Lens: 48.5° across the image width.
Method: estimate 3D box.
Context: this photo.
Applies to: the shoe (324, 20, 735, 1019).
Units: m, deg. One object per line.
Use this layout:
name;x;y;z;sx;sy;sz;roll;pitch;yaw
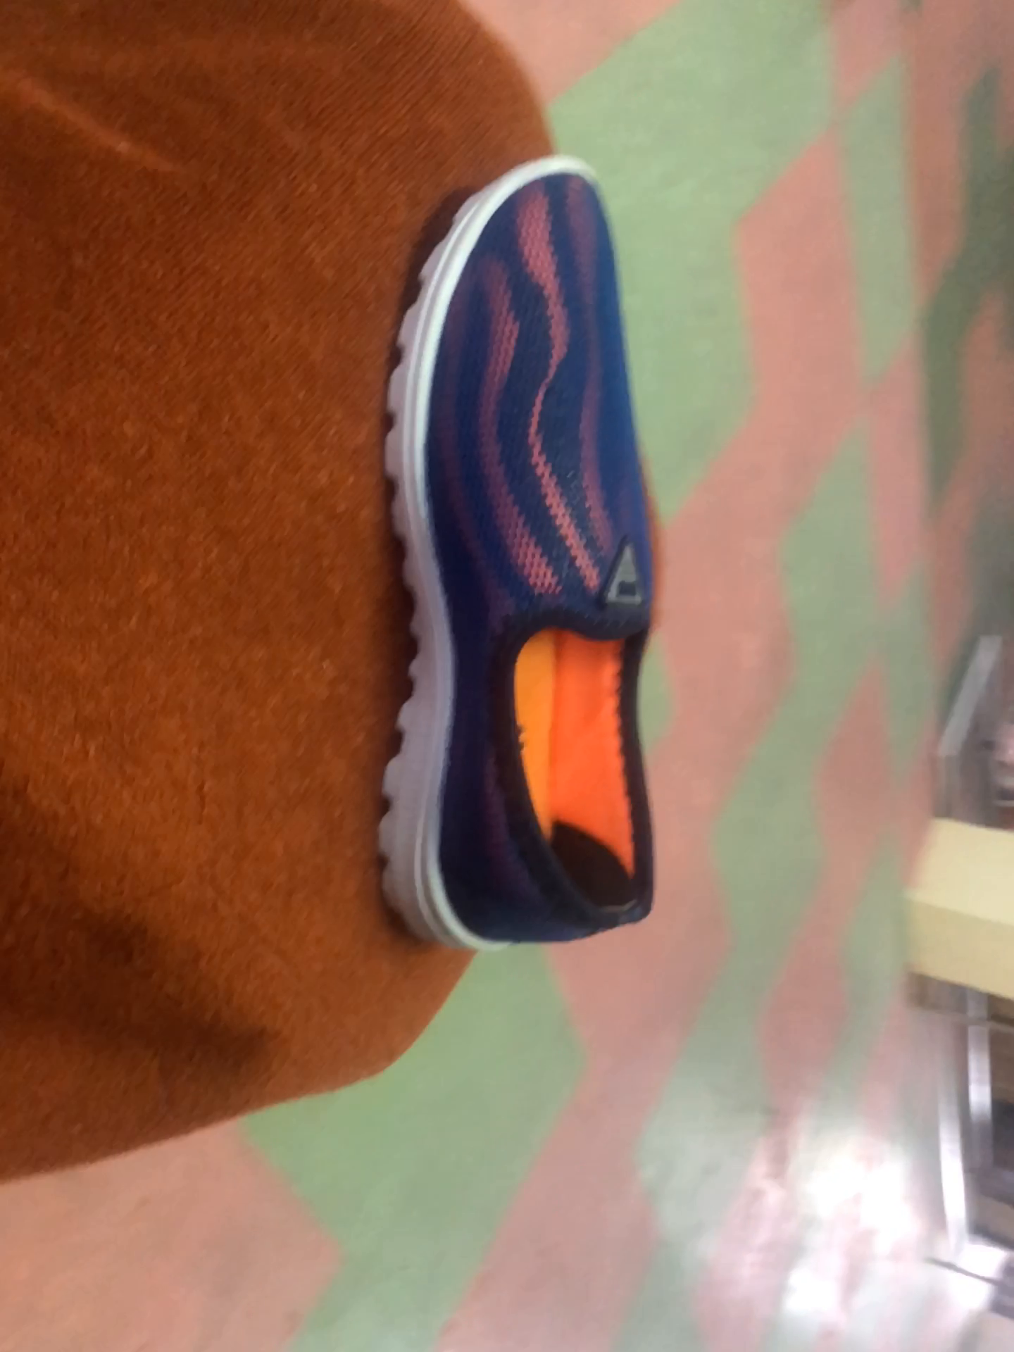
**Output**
shoe;0.007;-0.041;0.351;0.091;0.069;0.260;-8;105;-56
